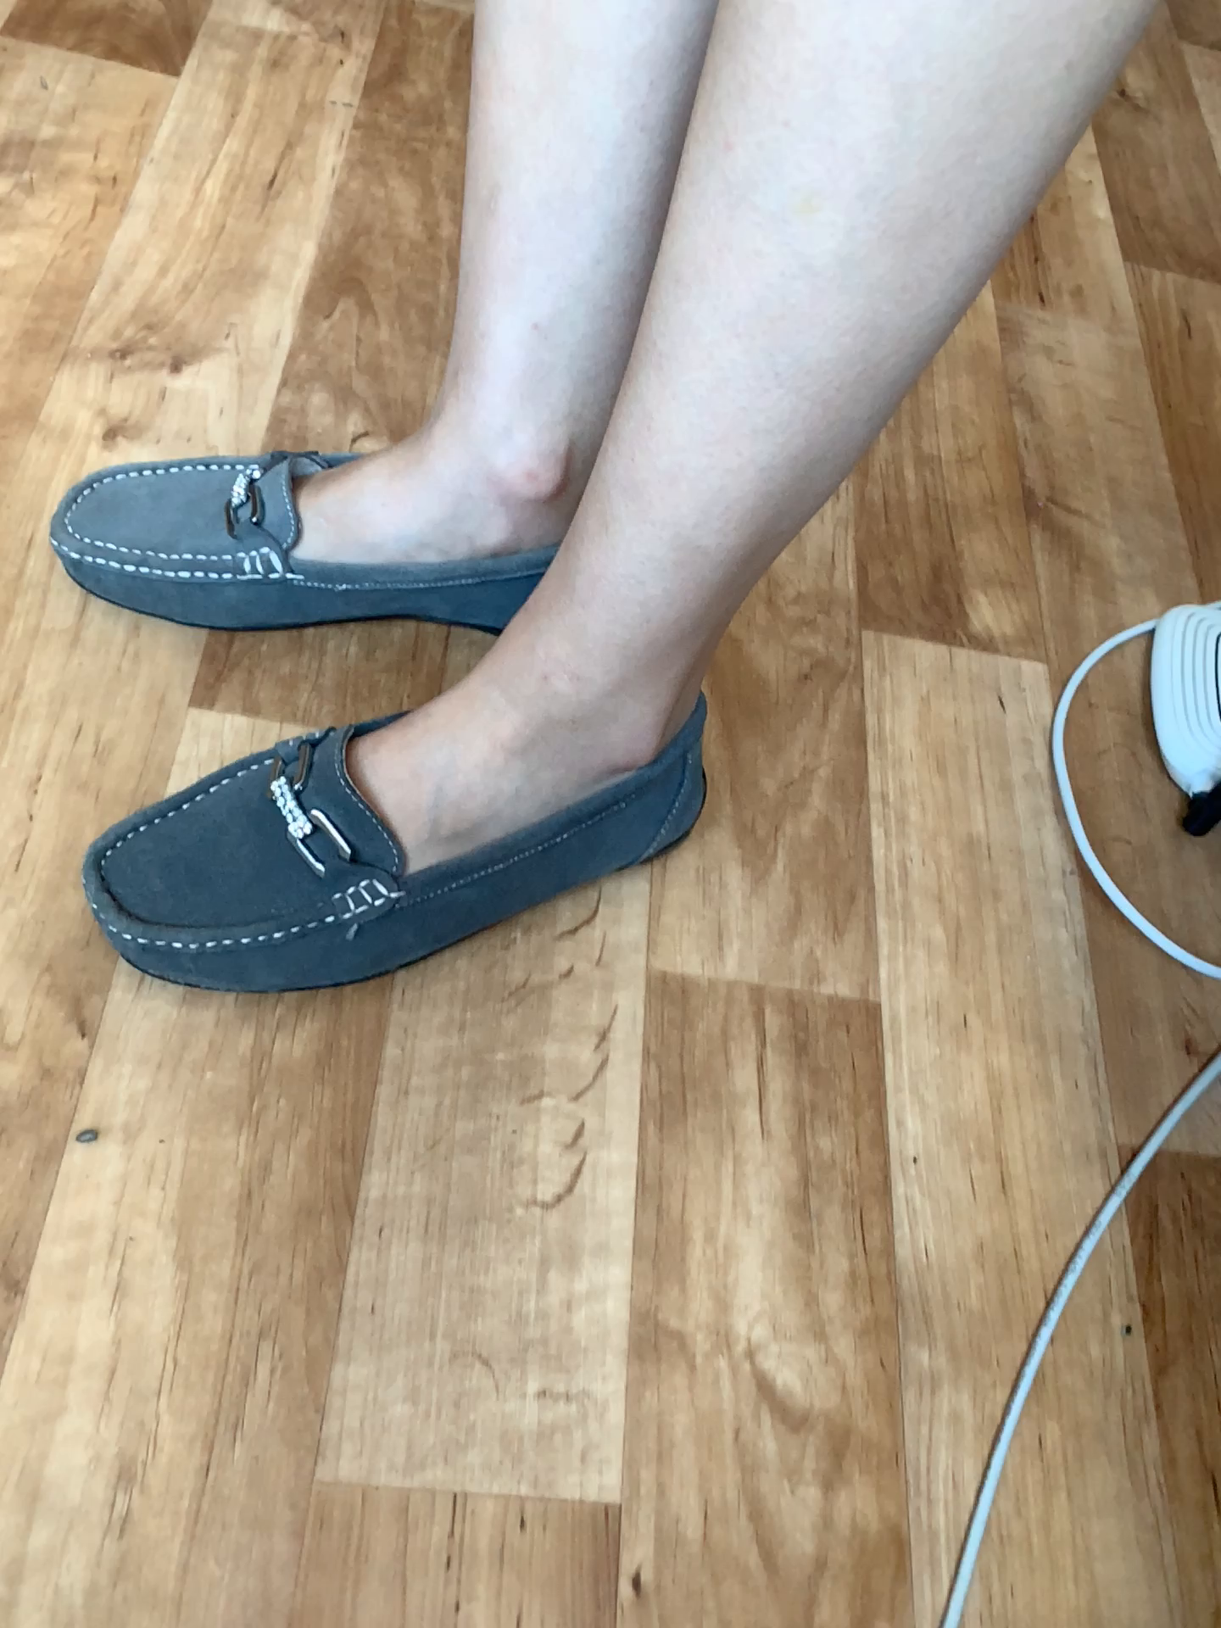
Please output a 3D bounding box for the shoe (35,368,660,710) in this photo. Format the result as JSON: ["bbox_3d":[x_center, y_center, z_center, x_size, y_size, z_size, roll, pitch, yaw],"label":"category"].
[{"bbox_3d":[-0.103,-0.115,0.537,0.240,0.060,0.090,7,55,-10],"label":"shoe"}]

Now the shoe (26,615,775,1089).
[{"bbox_3d":[-0.072,0.007,0.465,0.240,0.060,0.100,-16,66,-22],"label":"shoe"}]
